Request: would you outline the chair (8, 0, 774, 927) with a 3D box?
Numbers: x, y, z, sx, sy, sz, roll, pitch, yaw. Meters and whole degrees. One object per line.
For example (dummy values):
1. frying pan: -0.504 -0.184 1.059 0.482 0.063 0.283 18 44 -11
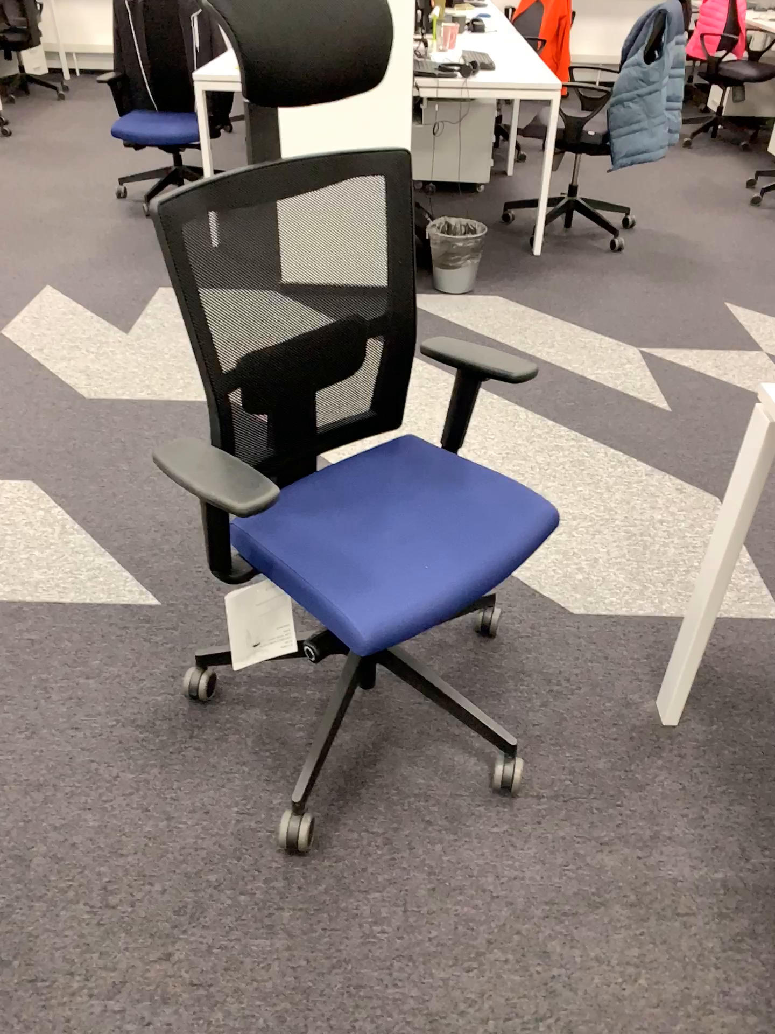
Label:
1. chair: 0.010 -0.118 1.316 0.732 1.243 0.672 -23 43 -29
